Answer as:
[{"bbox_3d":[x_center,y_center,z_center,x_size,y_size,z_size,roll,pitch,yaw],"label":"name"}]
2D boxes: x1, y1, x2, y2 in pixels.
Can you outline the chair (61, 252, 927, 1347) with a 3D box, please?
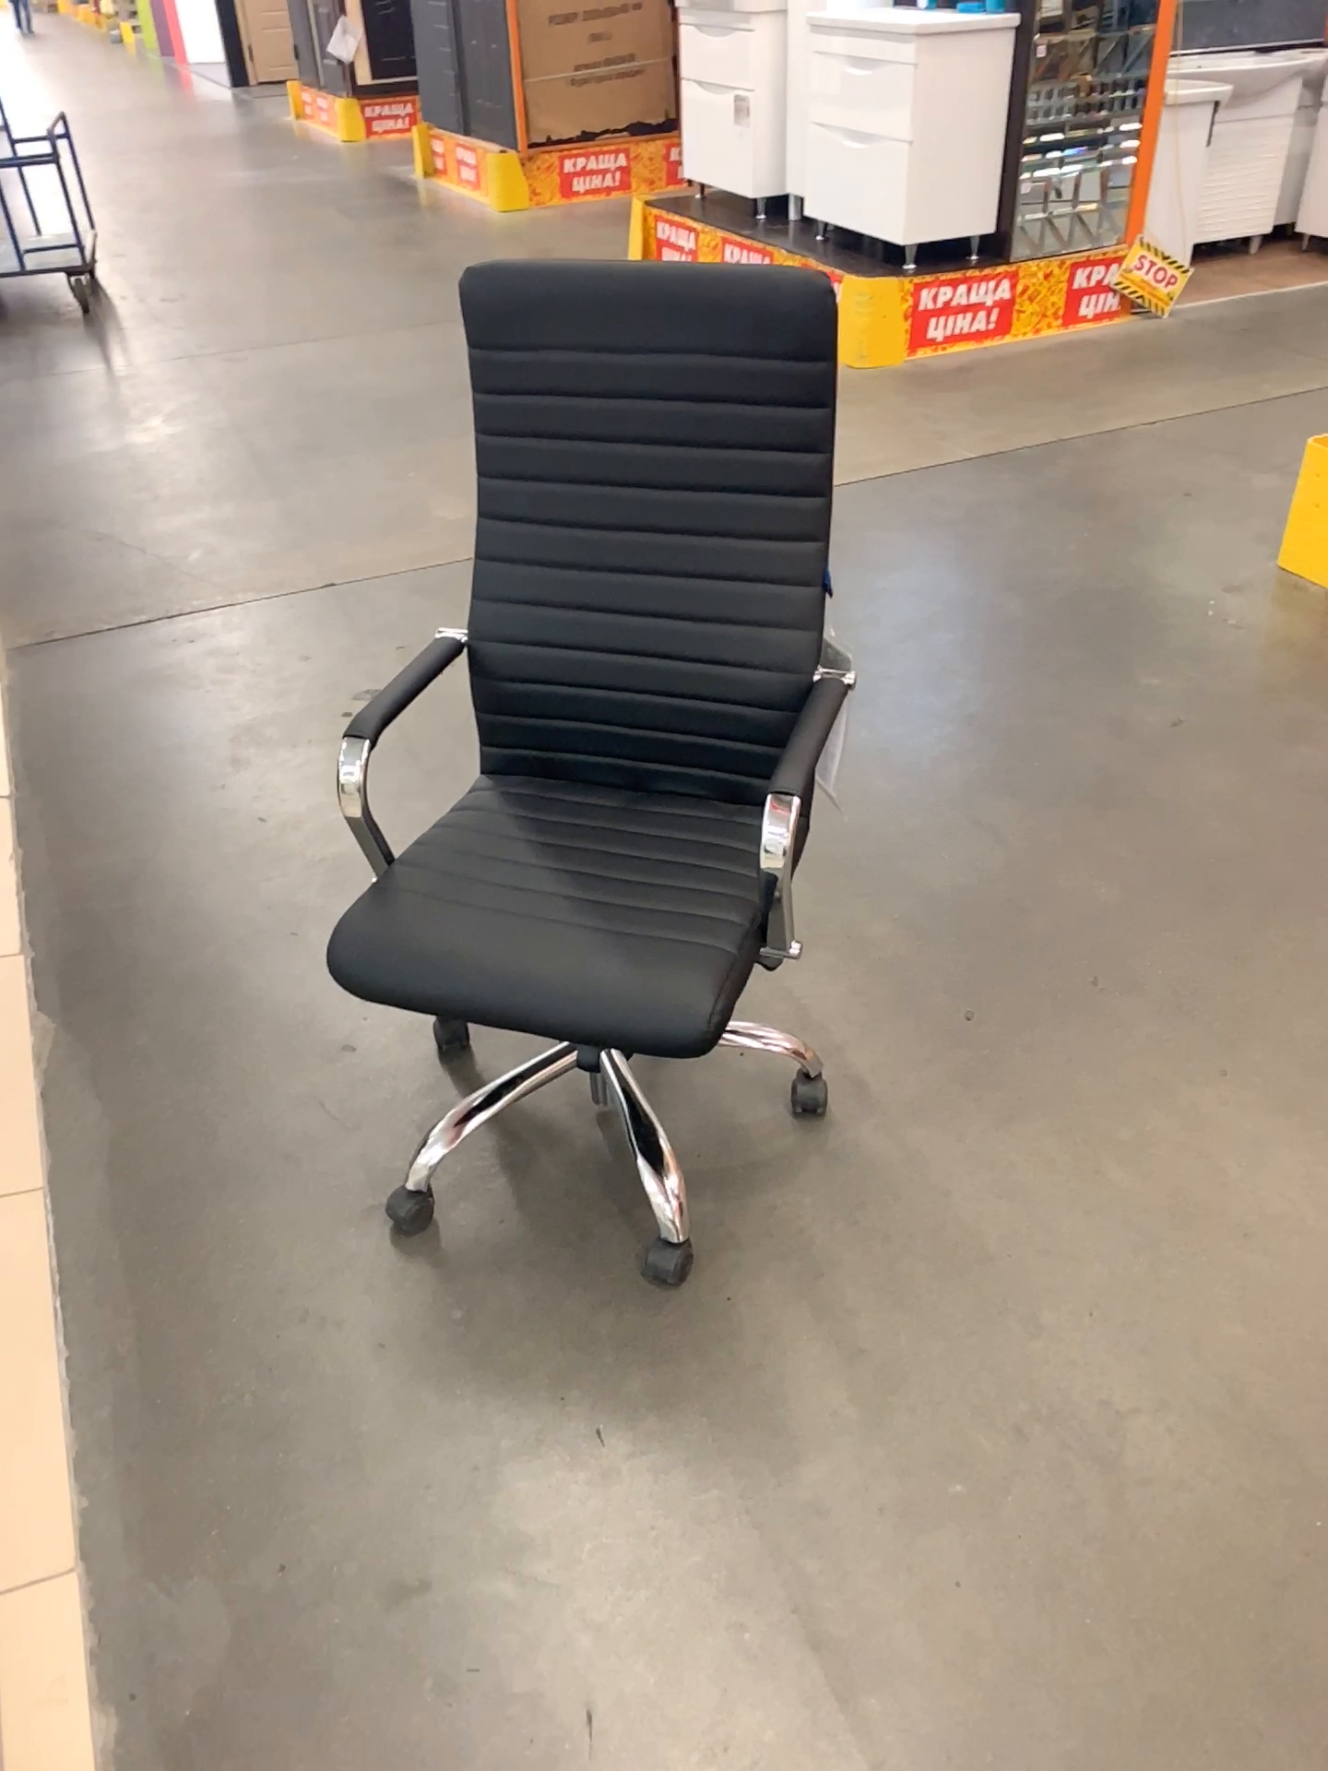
[{"bbox_3d":[-0.093,-0.127,1.667,0.651,1.075,0.683,9,36,16],"label":"chair"}]
